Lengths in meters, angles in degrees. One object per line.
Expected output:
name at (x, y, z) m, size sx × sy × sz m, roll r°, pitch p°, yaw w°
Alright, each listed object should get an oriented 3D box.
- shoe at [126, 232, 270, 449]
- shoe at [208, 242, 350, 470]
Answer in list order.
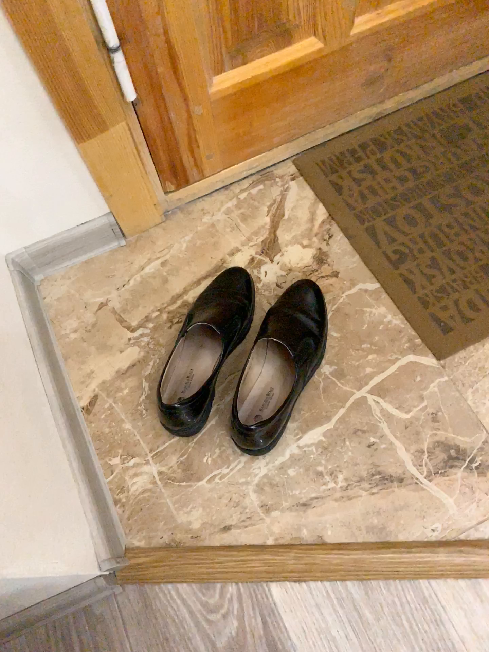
shoe at (-0.051, 0.016, 0.676) m, size 0.090 × 0.100 × 0.260 m, roll 15°, pitch 67°, yaw 13°
shoe at (0.051, 0.035, 0.645) m, size 0.090 × 0.100 × 0.260 m, roll 17°, pitch 67°, yaw 14°
